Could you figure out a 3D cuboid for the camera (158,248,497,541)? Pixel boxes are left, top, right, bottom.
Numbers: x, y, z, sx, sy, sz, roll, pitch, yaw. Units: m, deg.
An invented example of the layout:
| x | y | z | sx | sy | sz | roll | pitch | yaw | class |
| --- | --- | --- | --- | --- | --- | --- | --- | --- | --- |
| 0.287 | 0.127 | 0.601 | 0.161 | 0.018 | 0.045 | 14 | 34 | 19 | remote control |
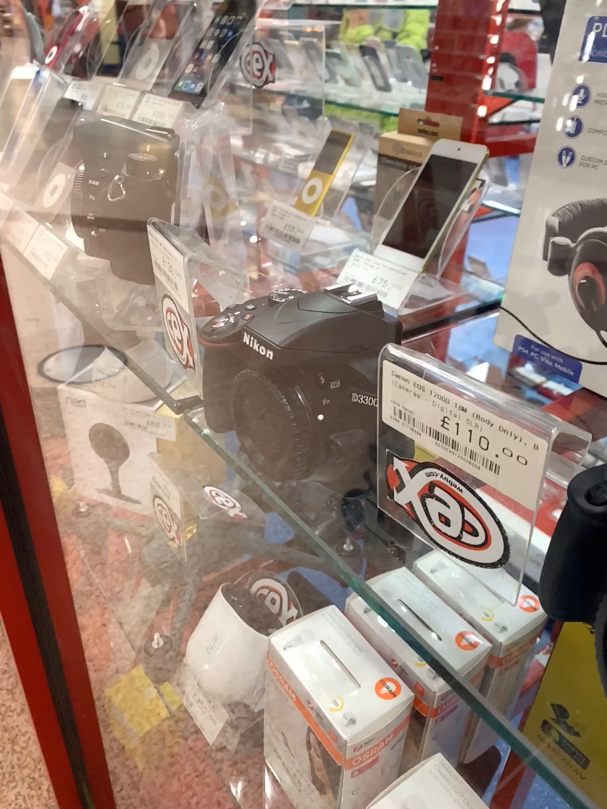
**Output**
| x | y | z | sx | sy | sz | roll | pitch | yaw | class |
| --- | --- | --- | --- | --- | --- | --- | --- | --- | --- |
| 0.008 | -0.018 | 0.332 | 0.110 | 0.079 | 0.131 | -23 | 40 | -35 | camera |
